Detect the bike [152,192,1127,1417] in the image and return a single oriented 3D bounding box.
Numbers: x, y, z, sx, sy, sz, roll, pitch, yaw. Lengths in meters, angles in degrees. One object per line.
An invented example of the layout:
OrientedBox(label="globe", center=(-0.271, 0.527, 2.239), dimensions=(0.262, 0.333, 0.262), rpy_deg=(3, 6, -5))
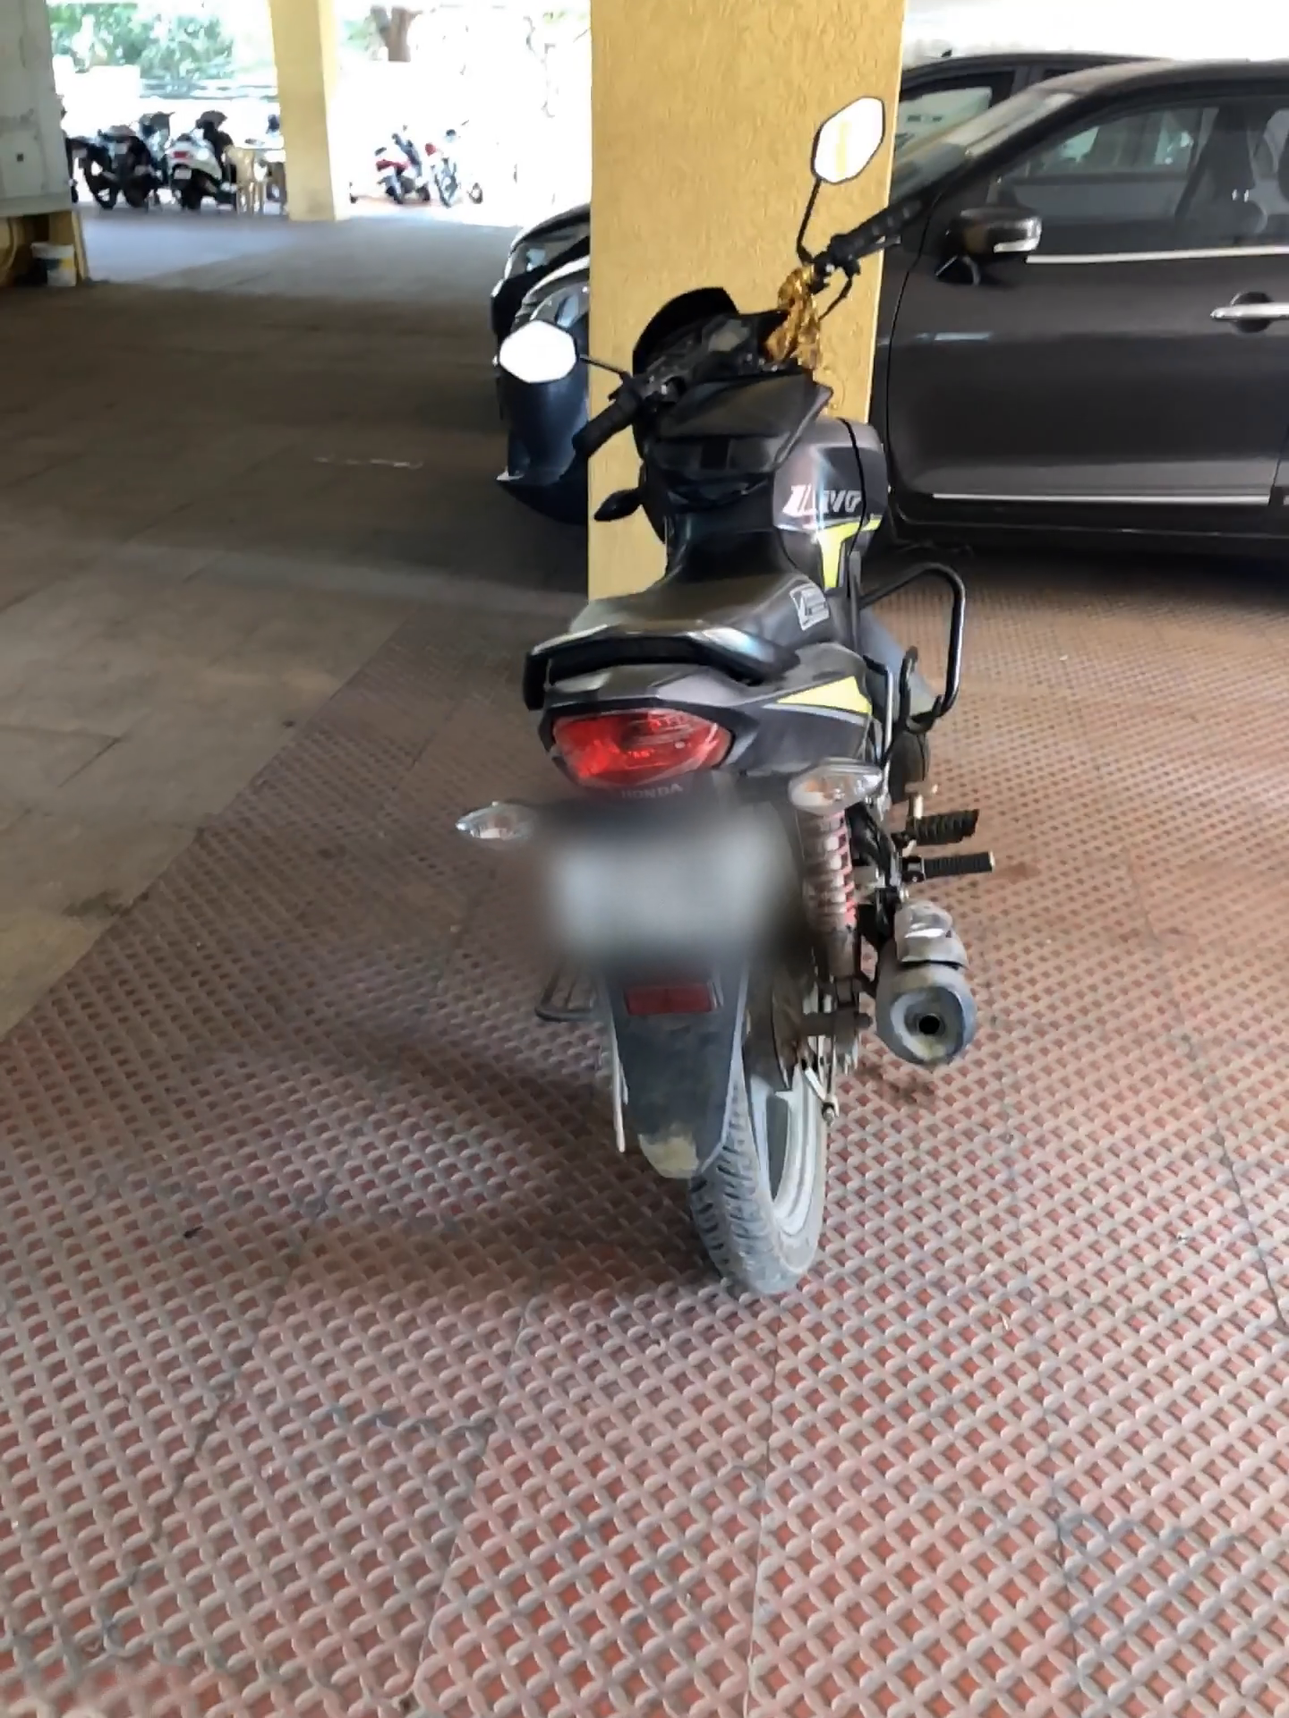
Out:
OrientedBox(label="bike", center=(0.109, -0.291, 1.994), dimensions=(0.716, 1.088, 1.630), rpy_deg=(5, 28, 8))
